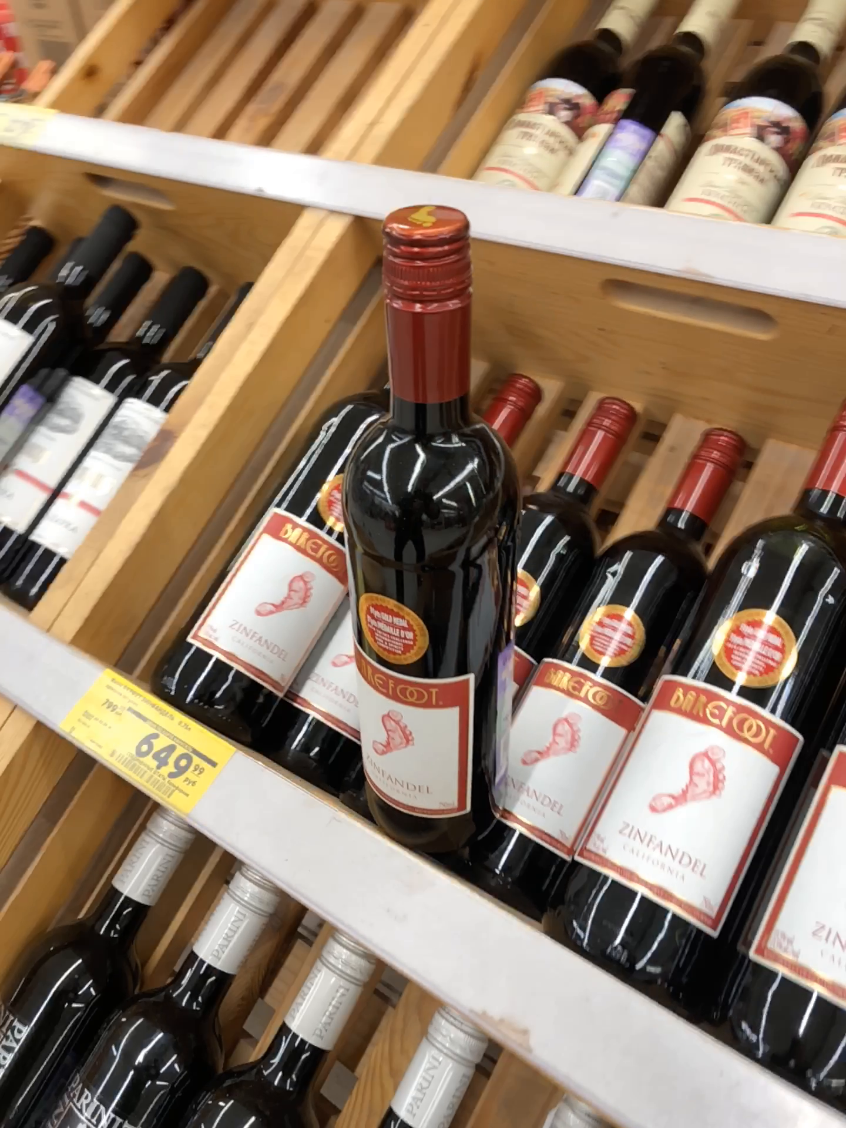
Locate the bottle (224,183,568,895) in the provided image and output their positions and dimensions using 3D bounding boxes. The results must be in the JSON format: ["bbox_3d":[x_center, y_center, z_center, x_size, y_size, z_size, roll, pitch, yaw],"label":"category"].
[{"bbox_3d":[0.002,0.006,0.390,0.080,0.288,0.080,-3,37,2],"label":"bottle"}]
